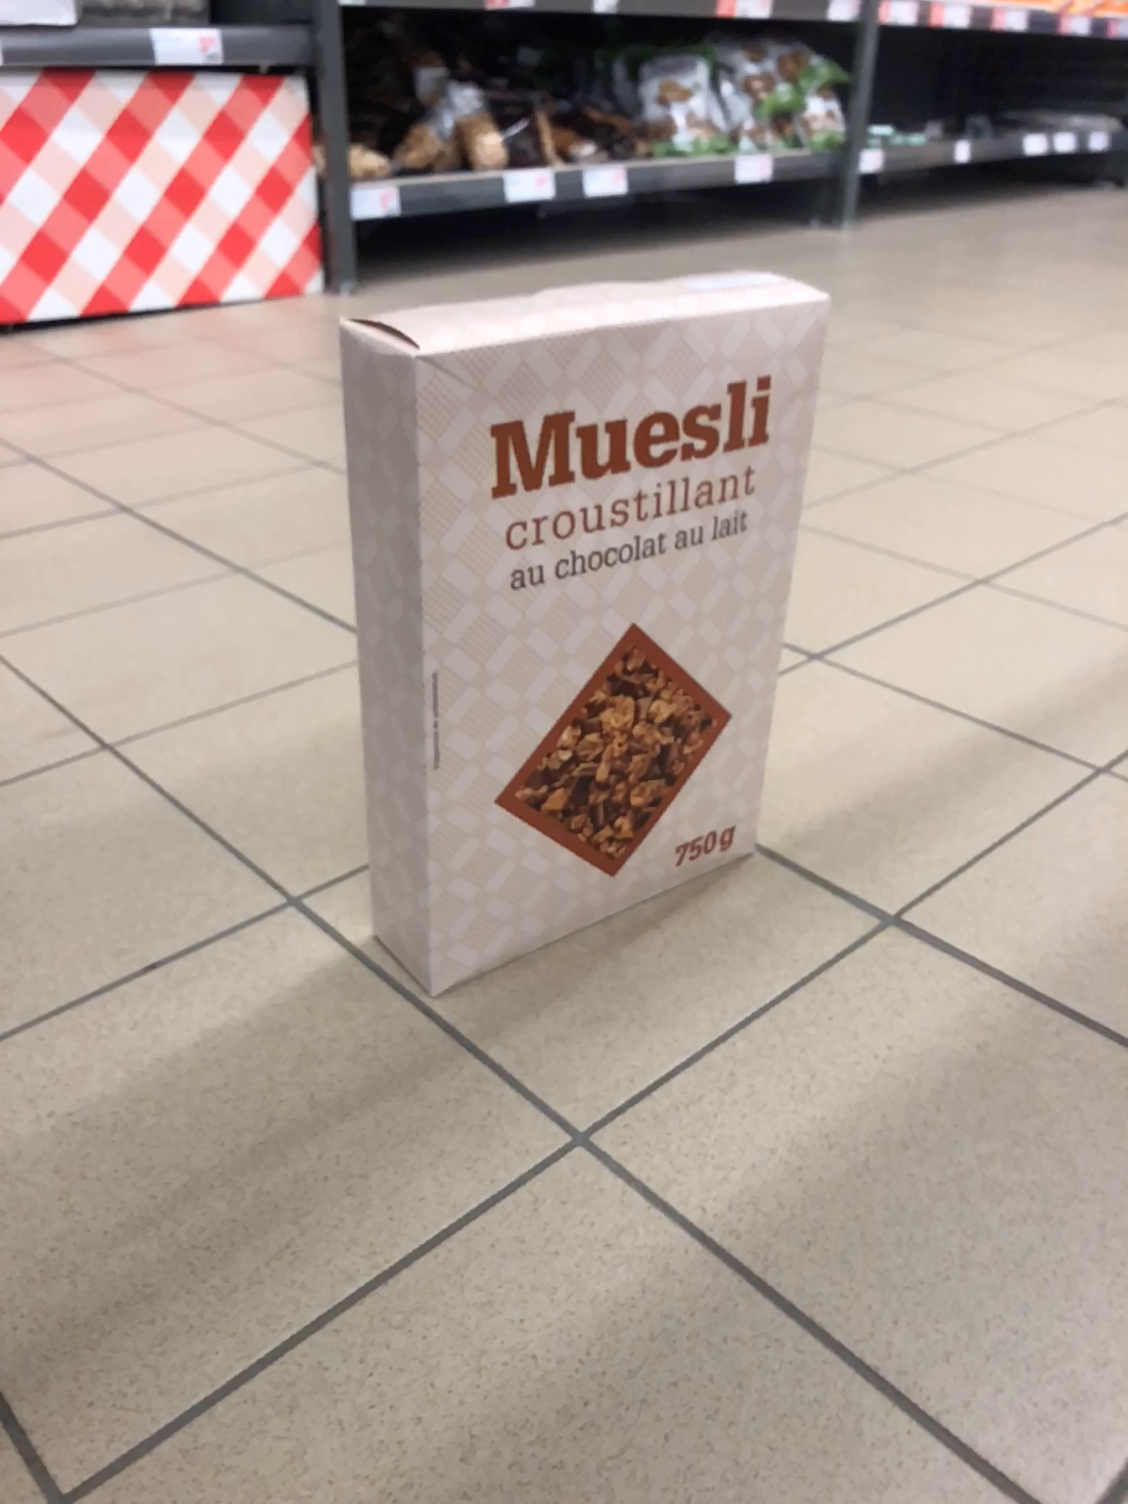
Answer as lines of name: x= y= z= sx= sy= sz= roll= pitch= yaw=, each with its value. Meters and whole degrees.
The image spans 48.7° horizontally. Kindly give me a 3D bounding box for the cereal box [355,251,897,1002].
cereal box: x=0.025 y=-0.053 z=0.517 sx=0.201 sy=0.268 sz=0.060 roll=-18 pitch=36 yaw=-31
